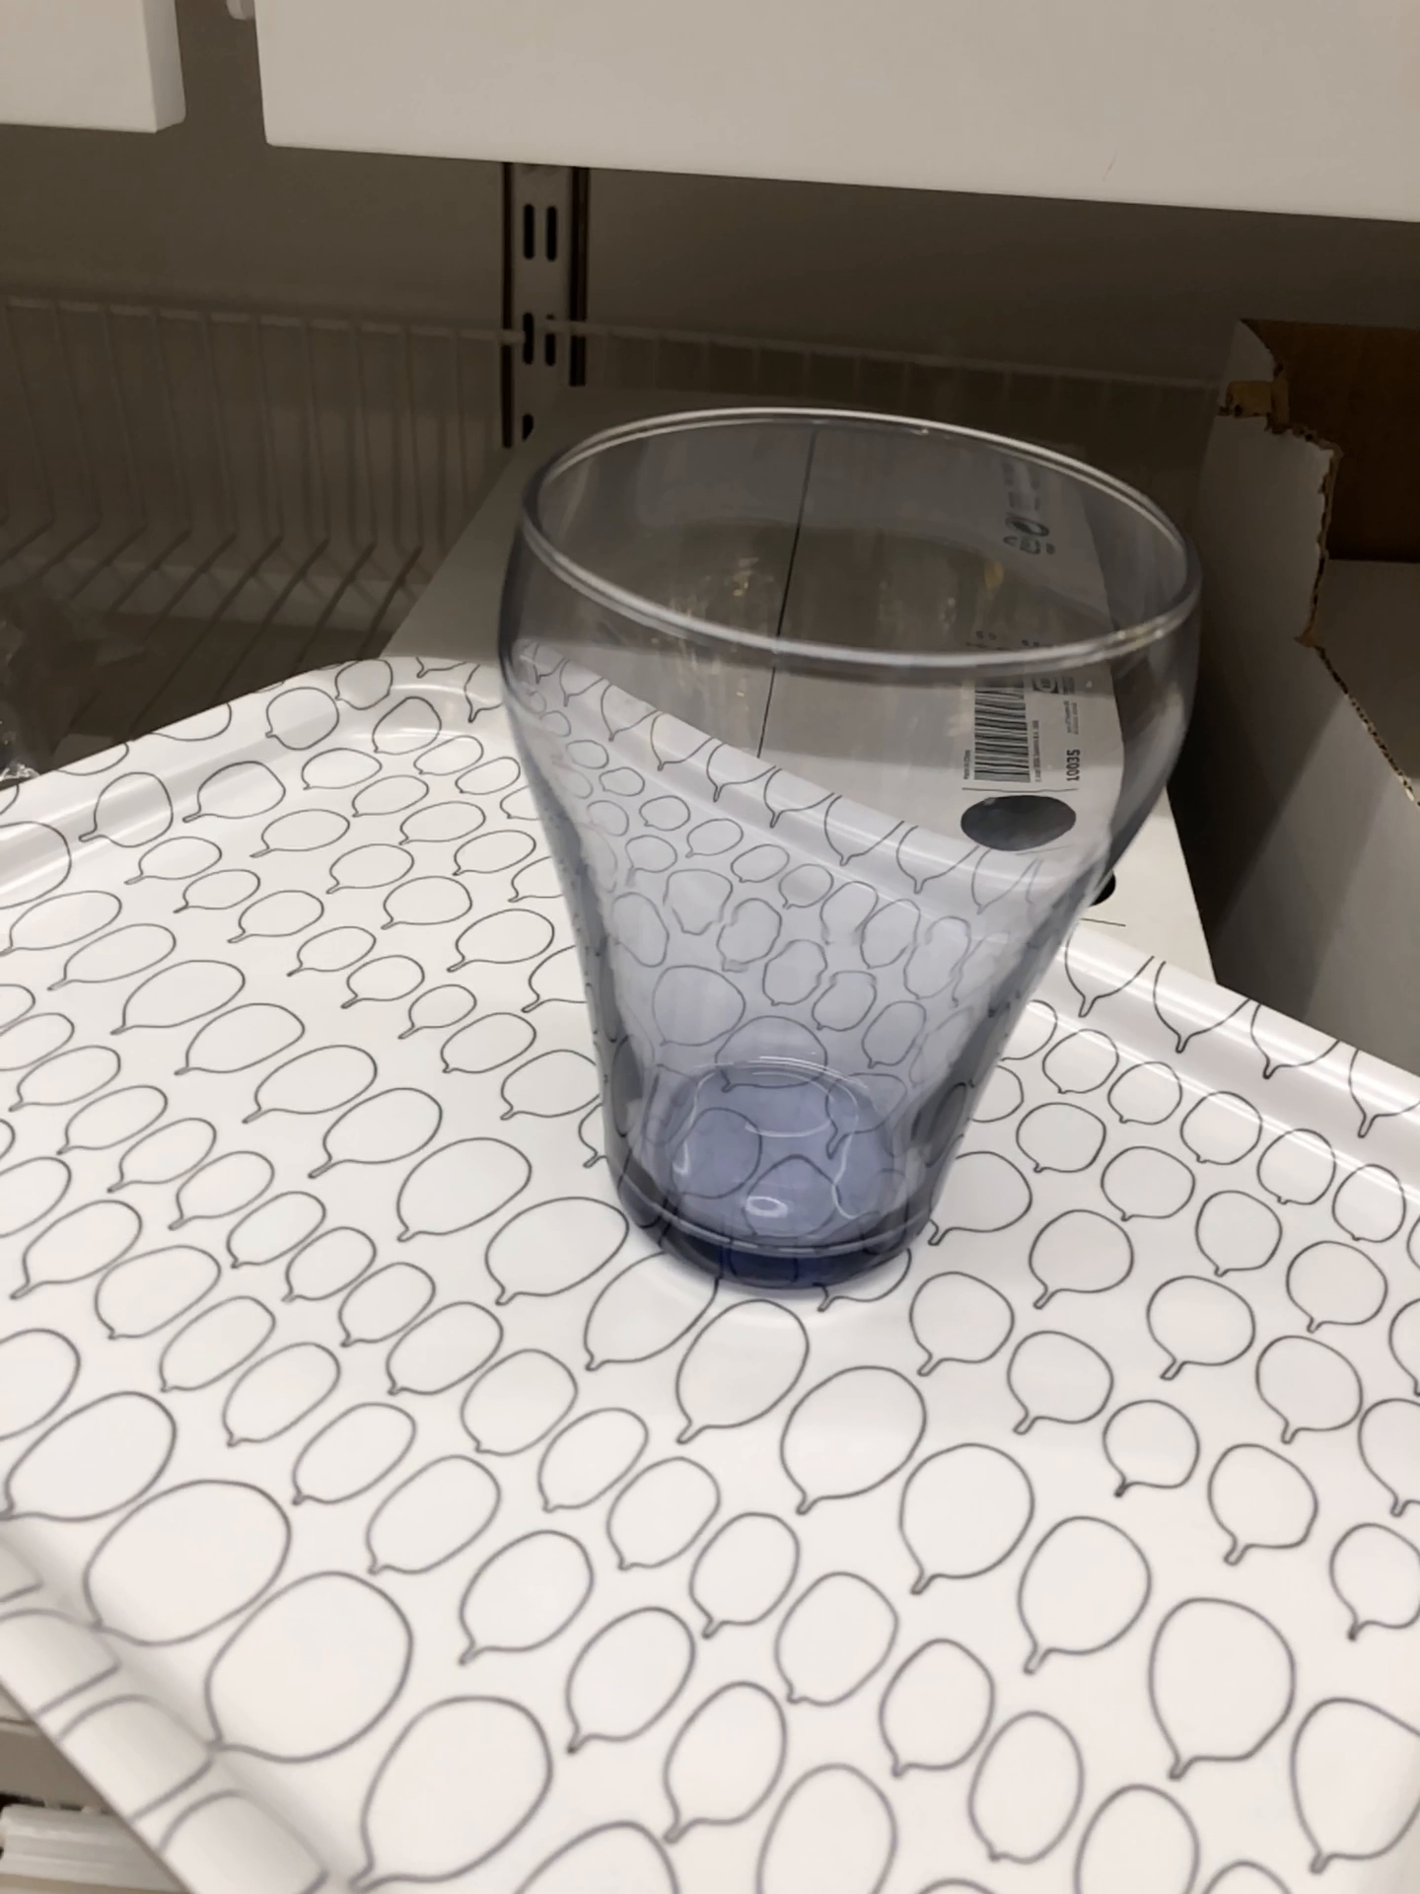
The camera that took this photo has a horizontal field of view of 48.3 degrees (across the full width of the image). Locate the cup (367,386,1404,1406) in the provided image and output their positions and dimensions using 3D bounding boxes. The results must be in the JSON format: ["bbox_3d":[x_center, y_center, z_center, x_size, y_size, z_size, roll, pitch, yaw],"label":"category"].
[{"bbox_3d":[0.011,-0.015,0.195,0.080,0.080,0.090,-11,35,-22],"label":"cup"}]
